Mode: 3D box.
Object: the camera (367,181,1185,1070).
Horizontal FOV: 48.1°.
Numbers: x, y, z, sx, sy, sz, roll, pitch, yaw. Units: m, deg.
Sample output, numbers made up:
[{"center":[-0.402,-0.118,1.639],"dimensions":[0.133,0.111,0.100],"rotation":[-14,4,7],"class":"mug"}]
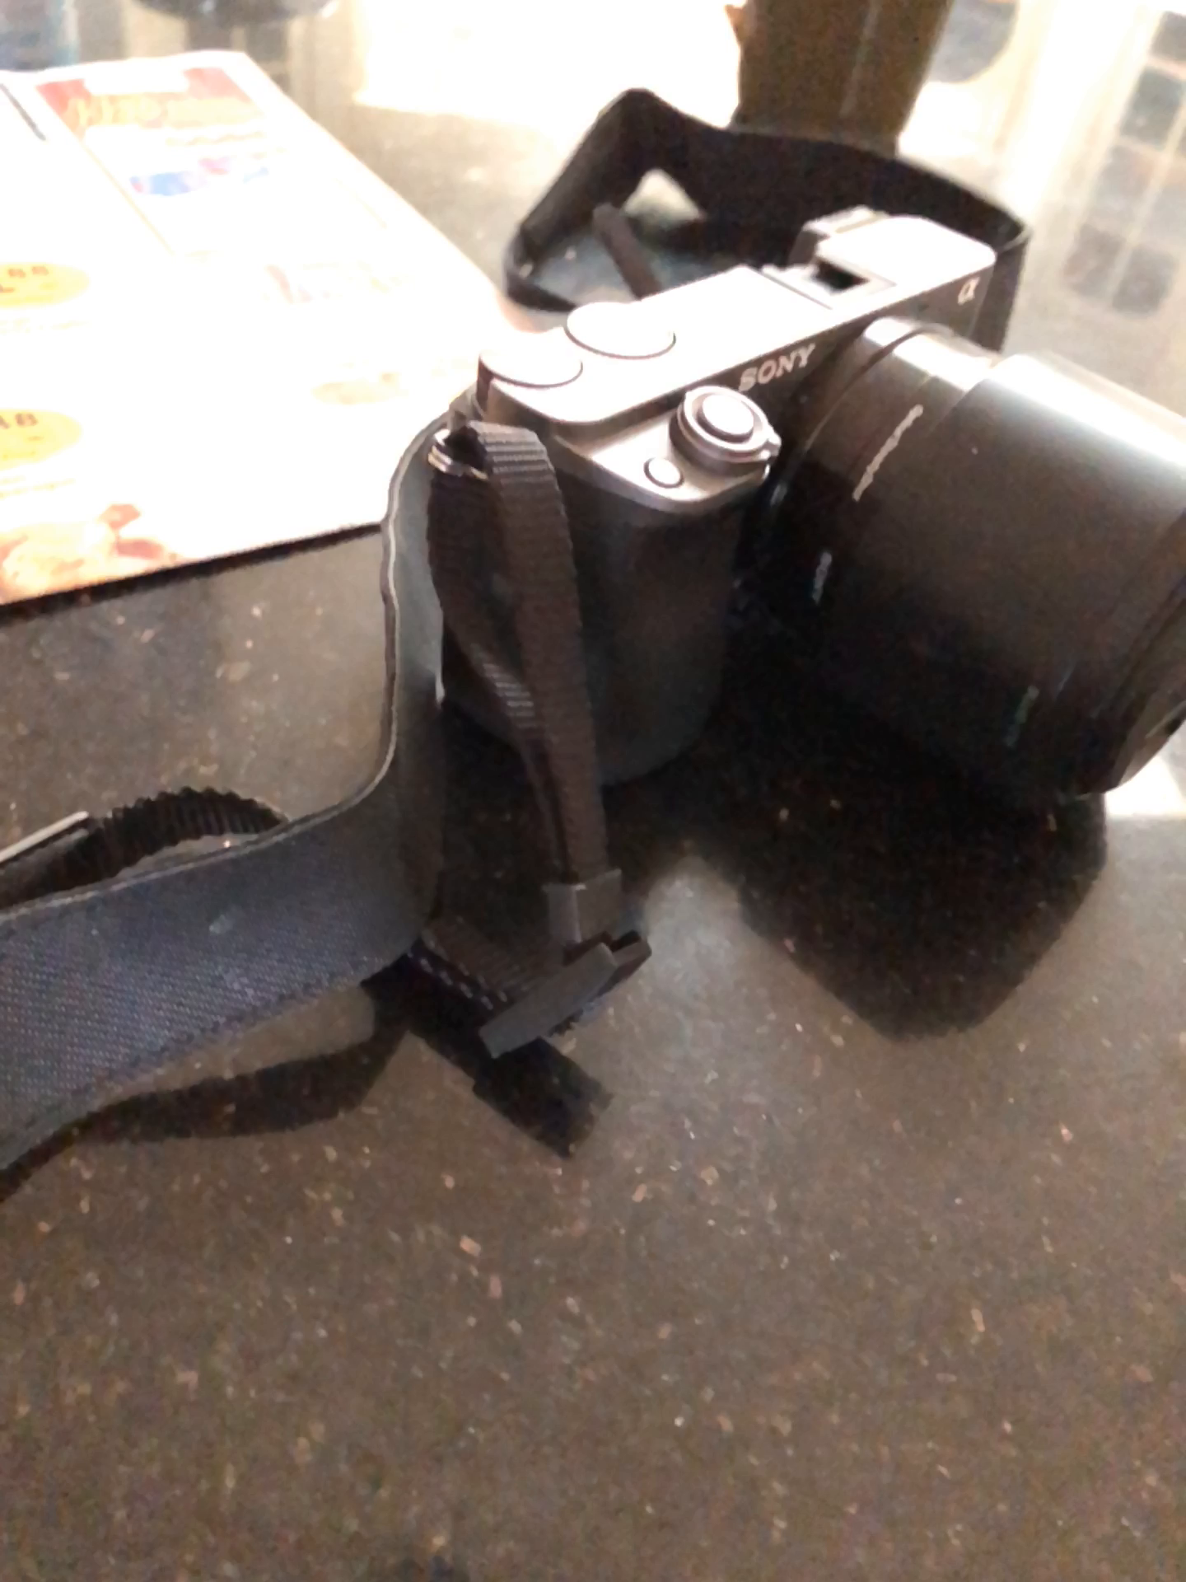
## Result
[{"center":[0.046,-0.042,0.238],"dimensions":[0.110,0.070,0.130],"rotation":[39,51,25],"class":"camera"}]
